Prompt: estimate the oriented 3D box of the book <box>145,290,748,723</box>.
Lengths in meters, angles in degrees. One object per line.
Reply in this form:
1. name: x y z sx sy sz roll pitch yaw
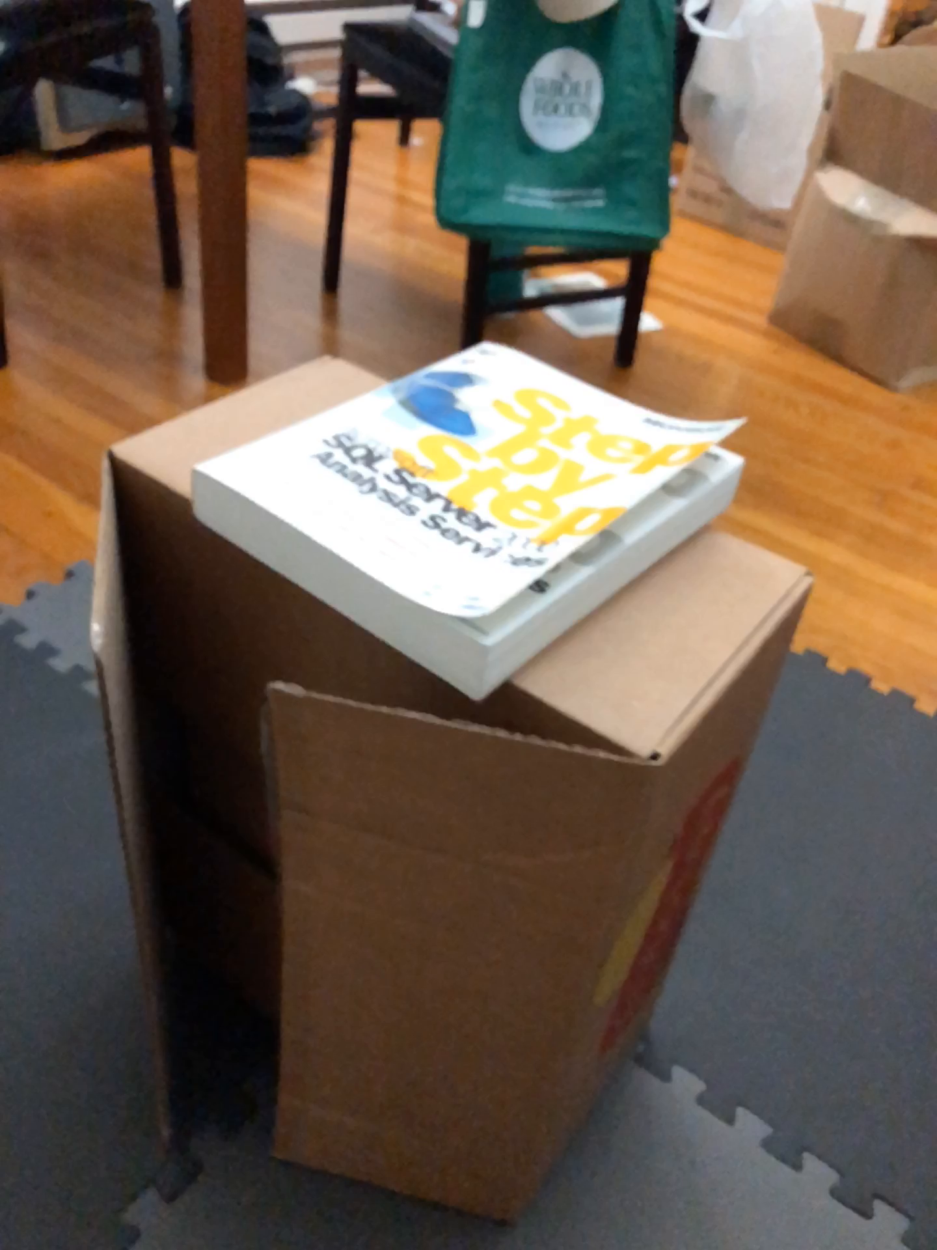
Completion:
1. book: -0.003 -0.082 0.542 0.200 0.050 0.241 32 45 22
